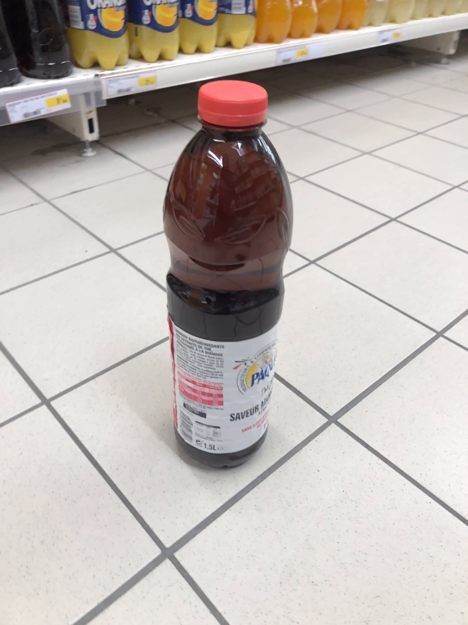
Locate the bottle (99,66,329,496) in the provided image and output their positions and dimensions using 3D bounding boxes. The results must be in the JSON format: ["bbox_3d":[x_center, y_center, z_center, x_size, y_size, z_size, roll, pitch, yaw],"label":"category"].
[{"bbox_3d":[-0.013,-0.009,0.379,0.090,0.288,0.101,21,41,23],"label":"bottle"}]
